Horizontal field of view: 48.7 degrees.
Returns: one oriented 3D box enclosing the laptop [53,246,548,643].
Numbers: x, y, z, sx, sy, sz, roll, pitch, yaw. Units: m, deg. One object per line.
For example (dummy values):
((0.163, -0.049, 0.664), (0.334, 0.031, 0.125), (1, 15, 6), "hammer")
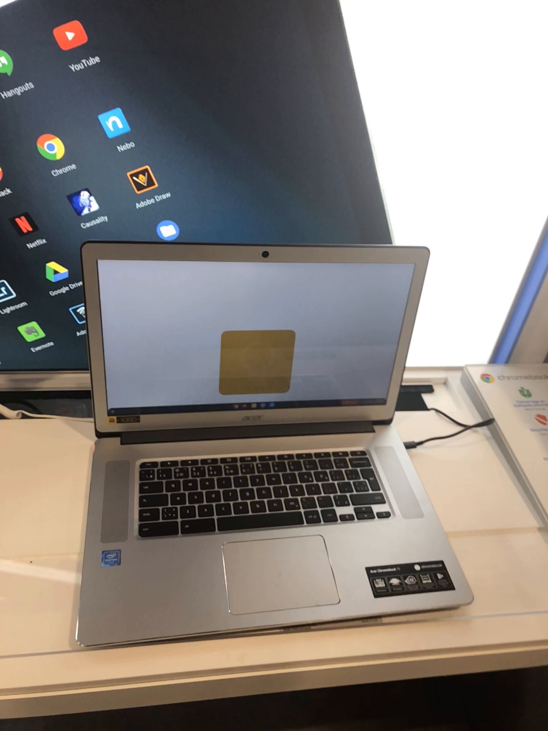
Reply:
((0.002, 0.059, 0.609), (0.371, 0.243, 0.283), (-1, 39, -12), "laptop")
